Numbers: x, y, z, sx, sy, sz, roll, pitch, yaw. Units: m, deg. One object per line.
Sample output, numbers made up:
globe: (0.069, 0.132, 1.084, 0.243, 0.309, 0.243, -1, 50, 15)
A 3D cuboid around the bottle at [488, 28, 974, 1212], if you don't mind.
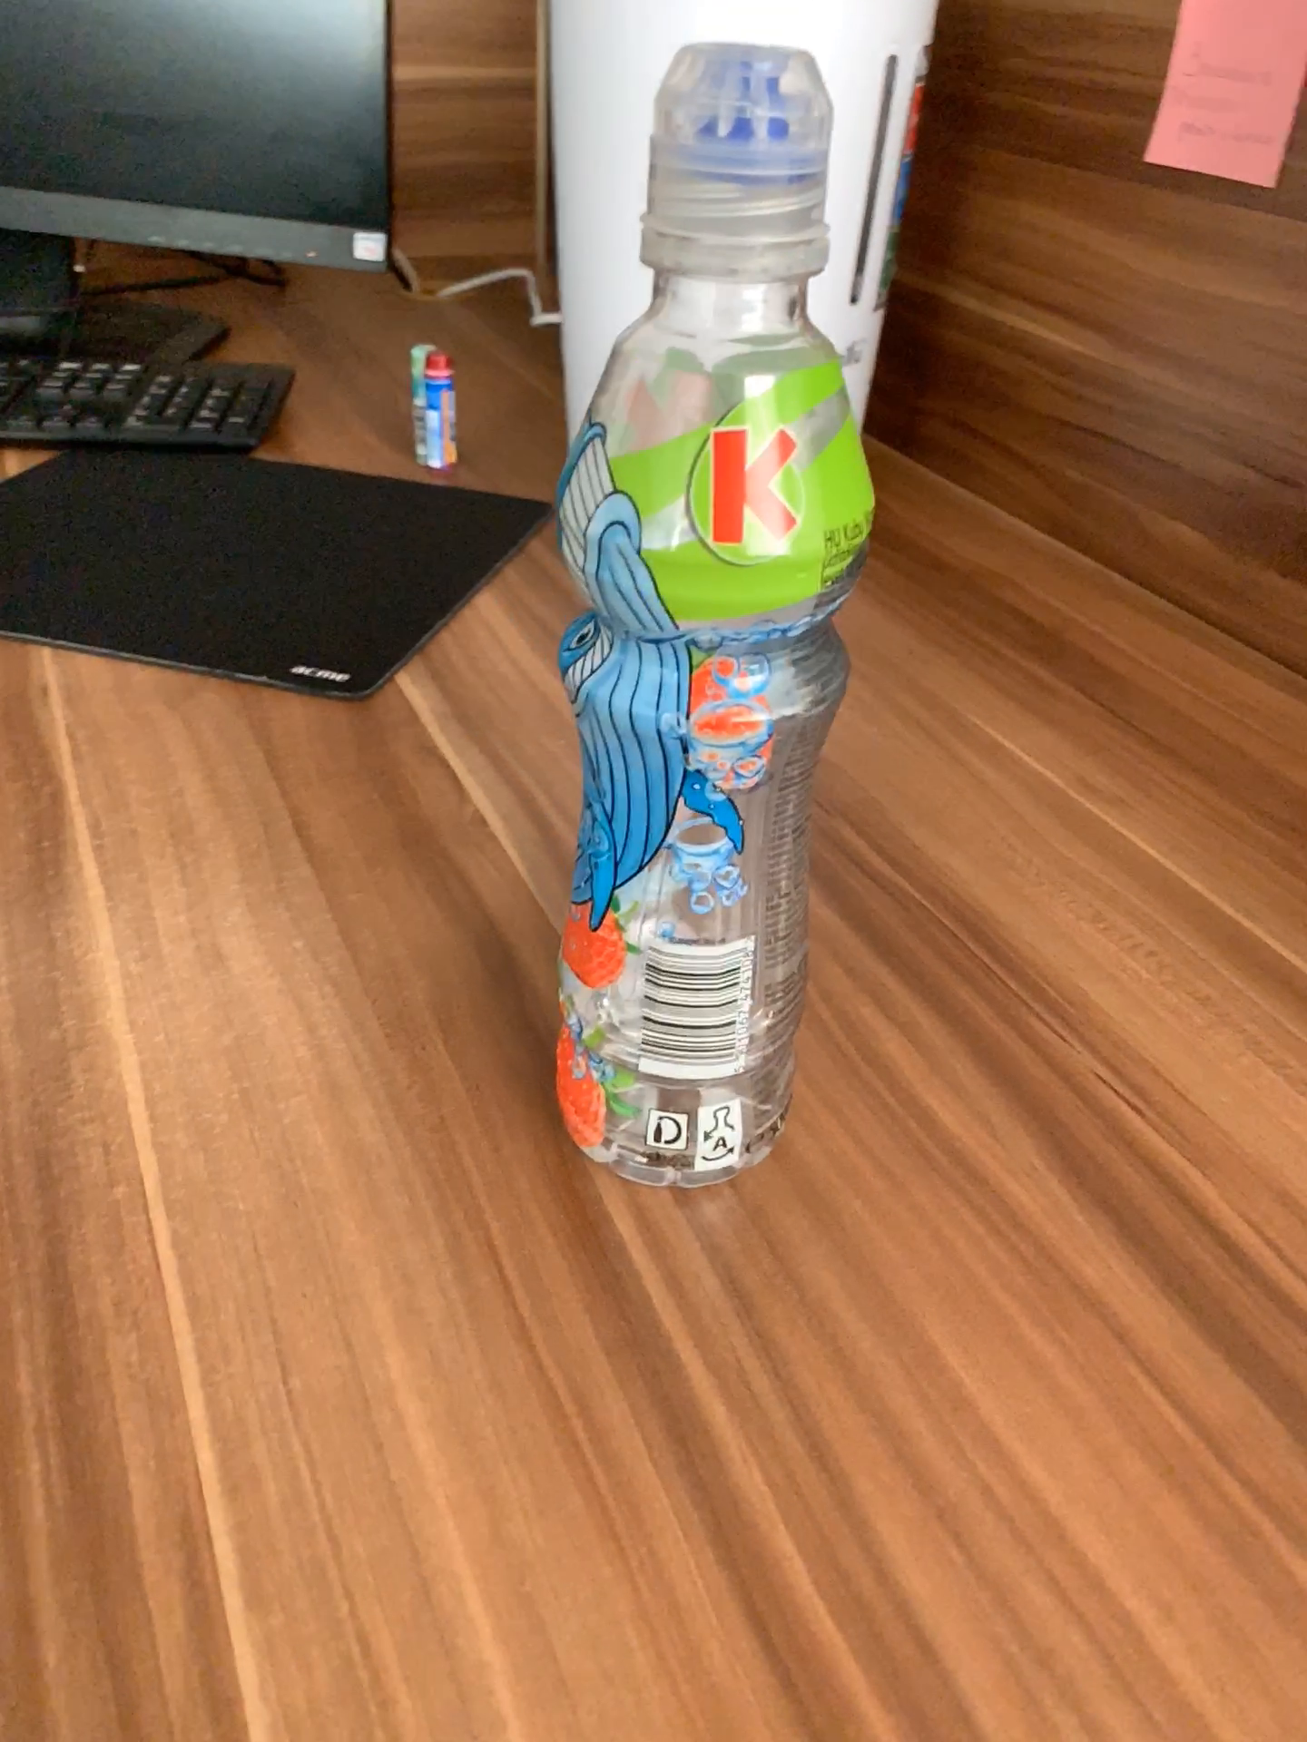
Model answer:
bottle: (0.007, -0.037, 0.290, 0.070, 0.239, 0.070, 2, 34, -2)
